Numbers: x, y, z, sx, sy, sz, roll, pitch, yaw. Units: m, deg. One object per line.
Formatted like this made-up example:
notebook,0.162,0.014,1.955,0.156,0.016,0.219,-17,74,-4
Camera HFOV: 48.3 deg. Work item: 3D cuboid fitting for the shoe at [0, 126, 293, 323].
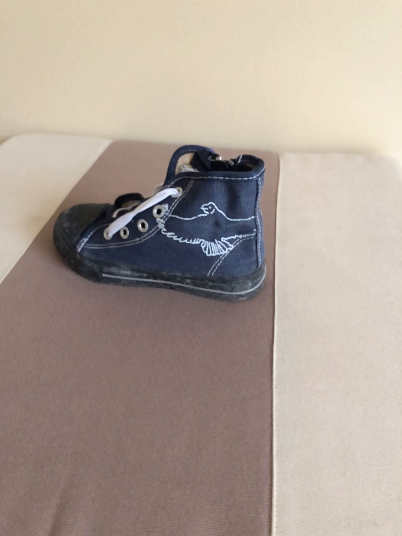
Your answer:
shoe,-0.037,-0.041,0.363,0.200,0.099,0.091,9,38,11
